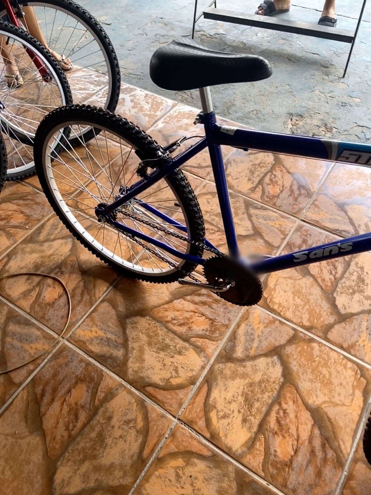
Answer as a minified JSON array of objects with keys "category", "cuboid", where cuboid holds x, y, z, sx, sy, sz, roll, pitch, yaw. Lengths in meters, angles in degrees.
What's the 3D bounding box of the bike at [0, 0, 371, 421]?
[{"category":"bike","cuboid":[0.270,-0.196,1.038,1.525,1.014,0.574,17,56,12]}]
